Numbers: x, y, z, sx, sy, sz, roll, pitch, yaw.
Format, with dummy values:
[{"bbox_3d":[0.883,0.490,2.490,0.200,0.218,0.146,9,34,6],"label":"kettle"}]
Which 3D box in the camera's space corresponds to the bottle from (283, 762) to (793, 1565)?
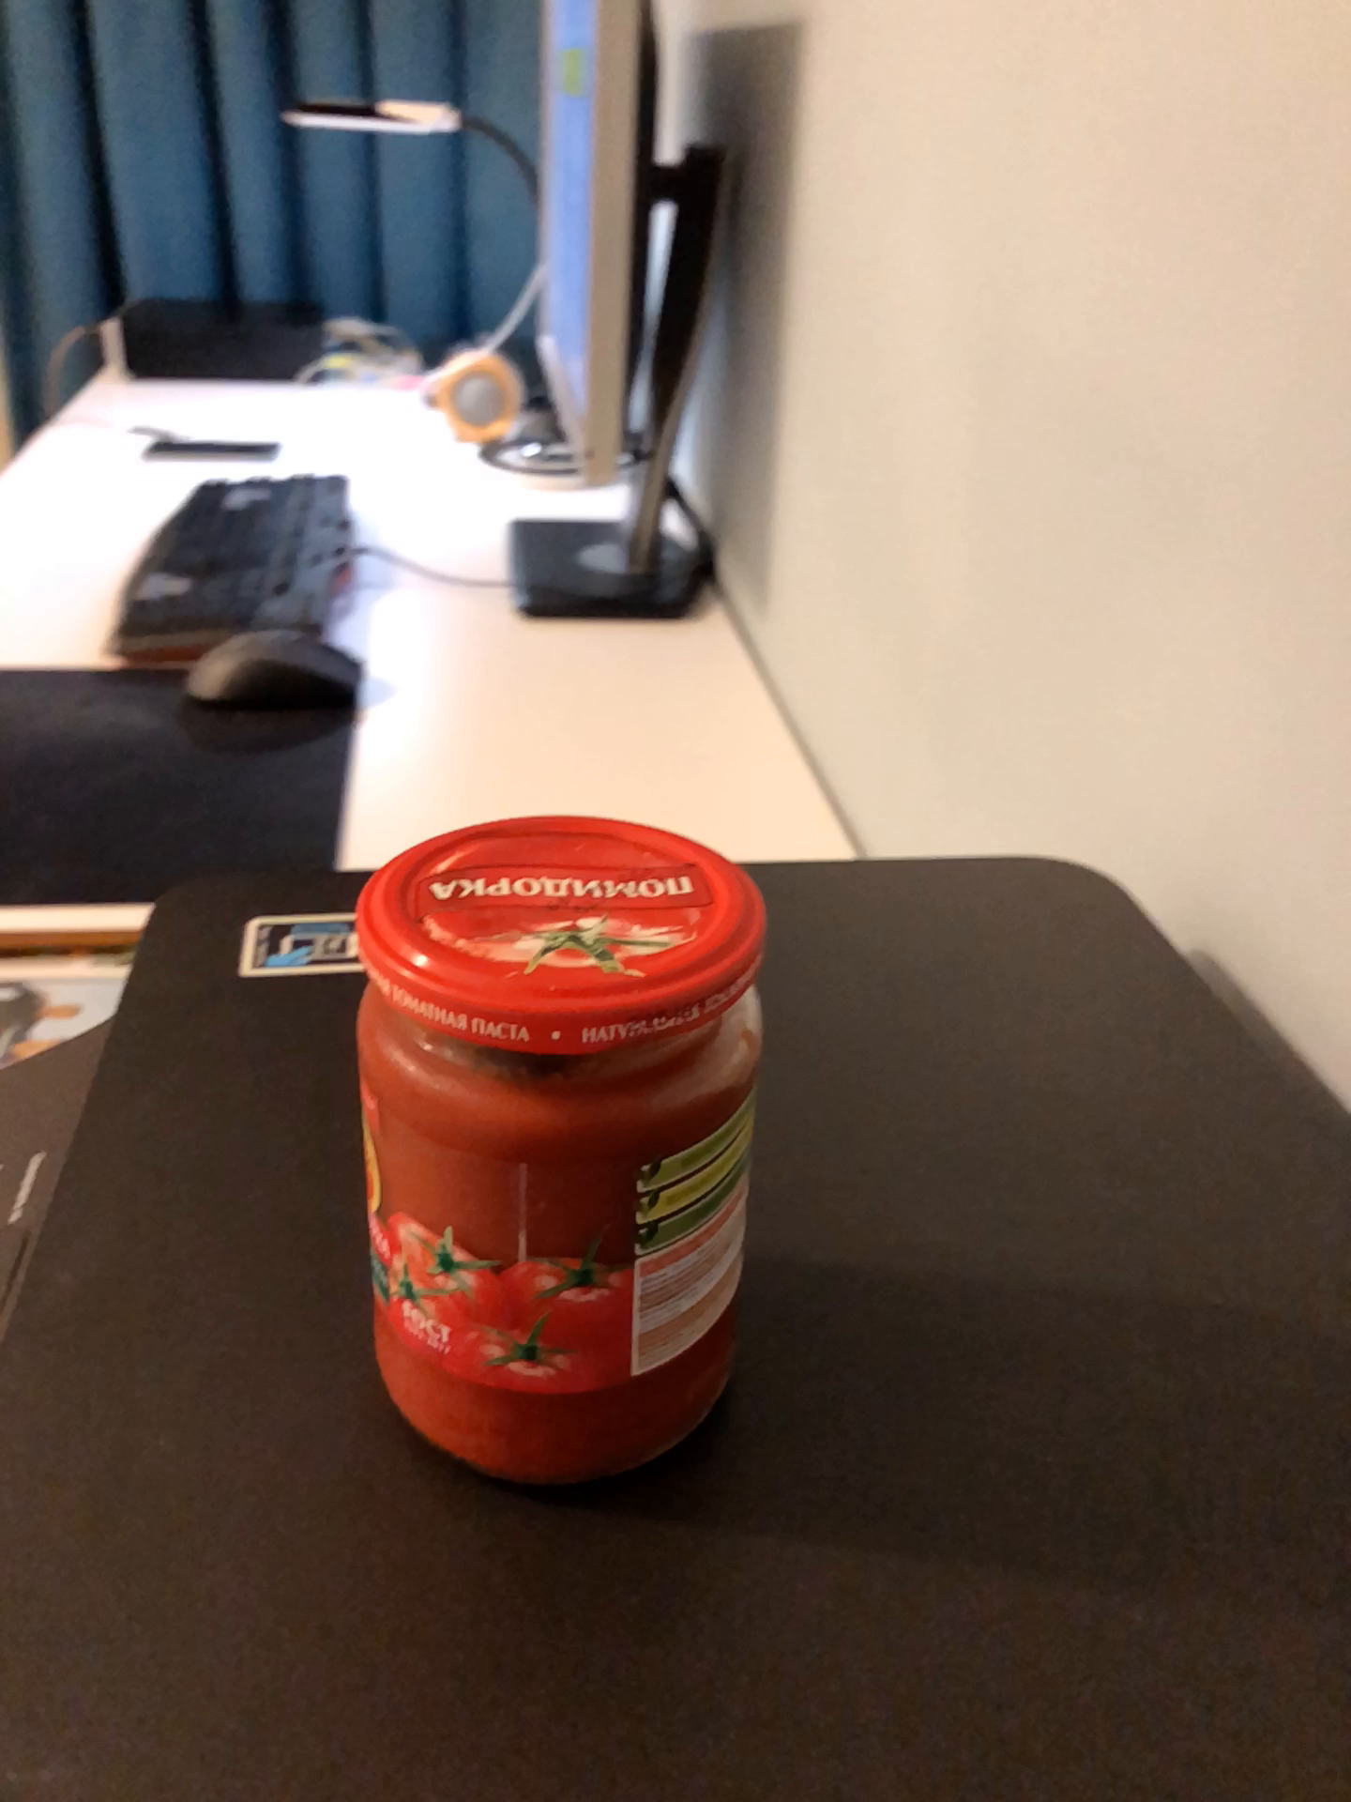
[{"bbox_3d":[-0.019,0.044,0.268,0.070,0.109,0.081,4,28,3],"label":"bottle"}]
